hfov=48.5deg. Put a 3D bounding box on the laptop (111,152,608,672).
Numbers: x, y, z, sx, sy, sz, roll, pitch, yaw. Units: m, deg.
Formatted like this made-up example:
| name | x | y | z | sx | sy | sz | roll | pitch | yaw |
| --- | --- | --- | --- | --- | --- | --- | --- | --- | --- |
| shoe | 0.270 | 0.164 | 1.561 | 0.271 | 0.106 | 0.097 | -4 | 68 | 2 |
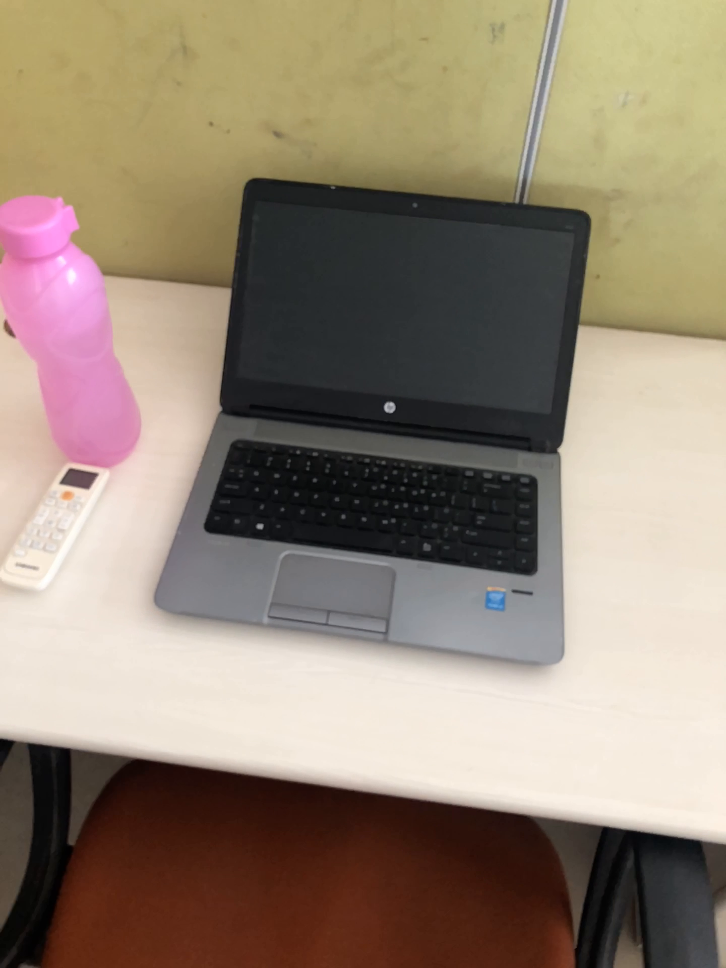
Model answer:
| name | x | y | z | sx | sy | sz | roll | pitch | yaw |
| --- | --- | --- | --- | --- | --- | --- | --- | --- | --- |
| laptop | 0.021 | -0.086 | 0.697 | 0.326 | 0.148 | 0.408 | 7 | 54 | 4 |
